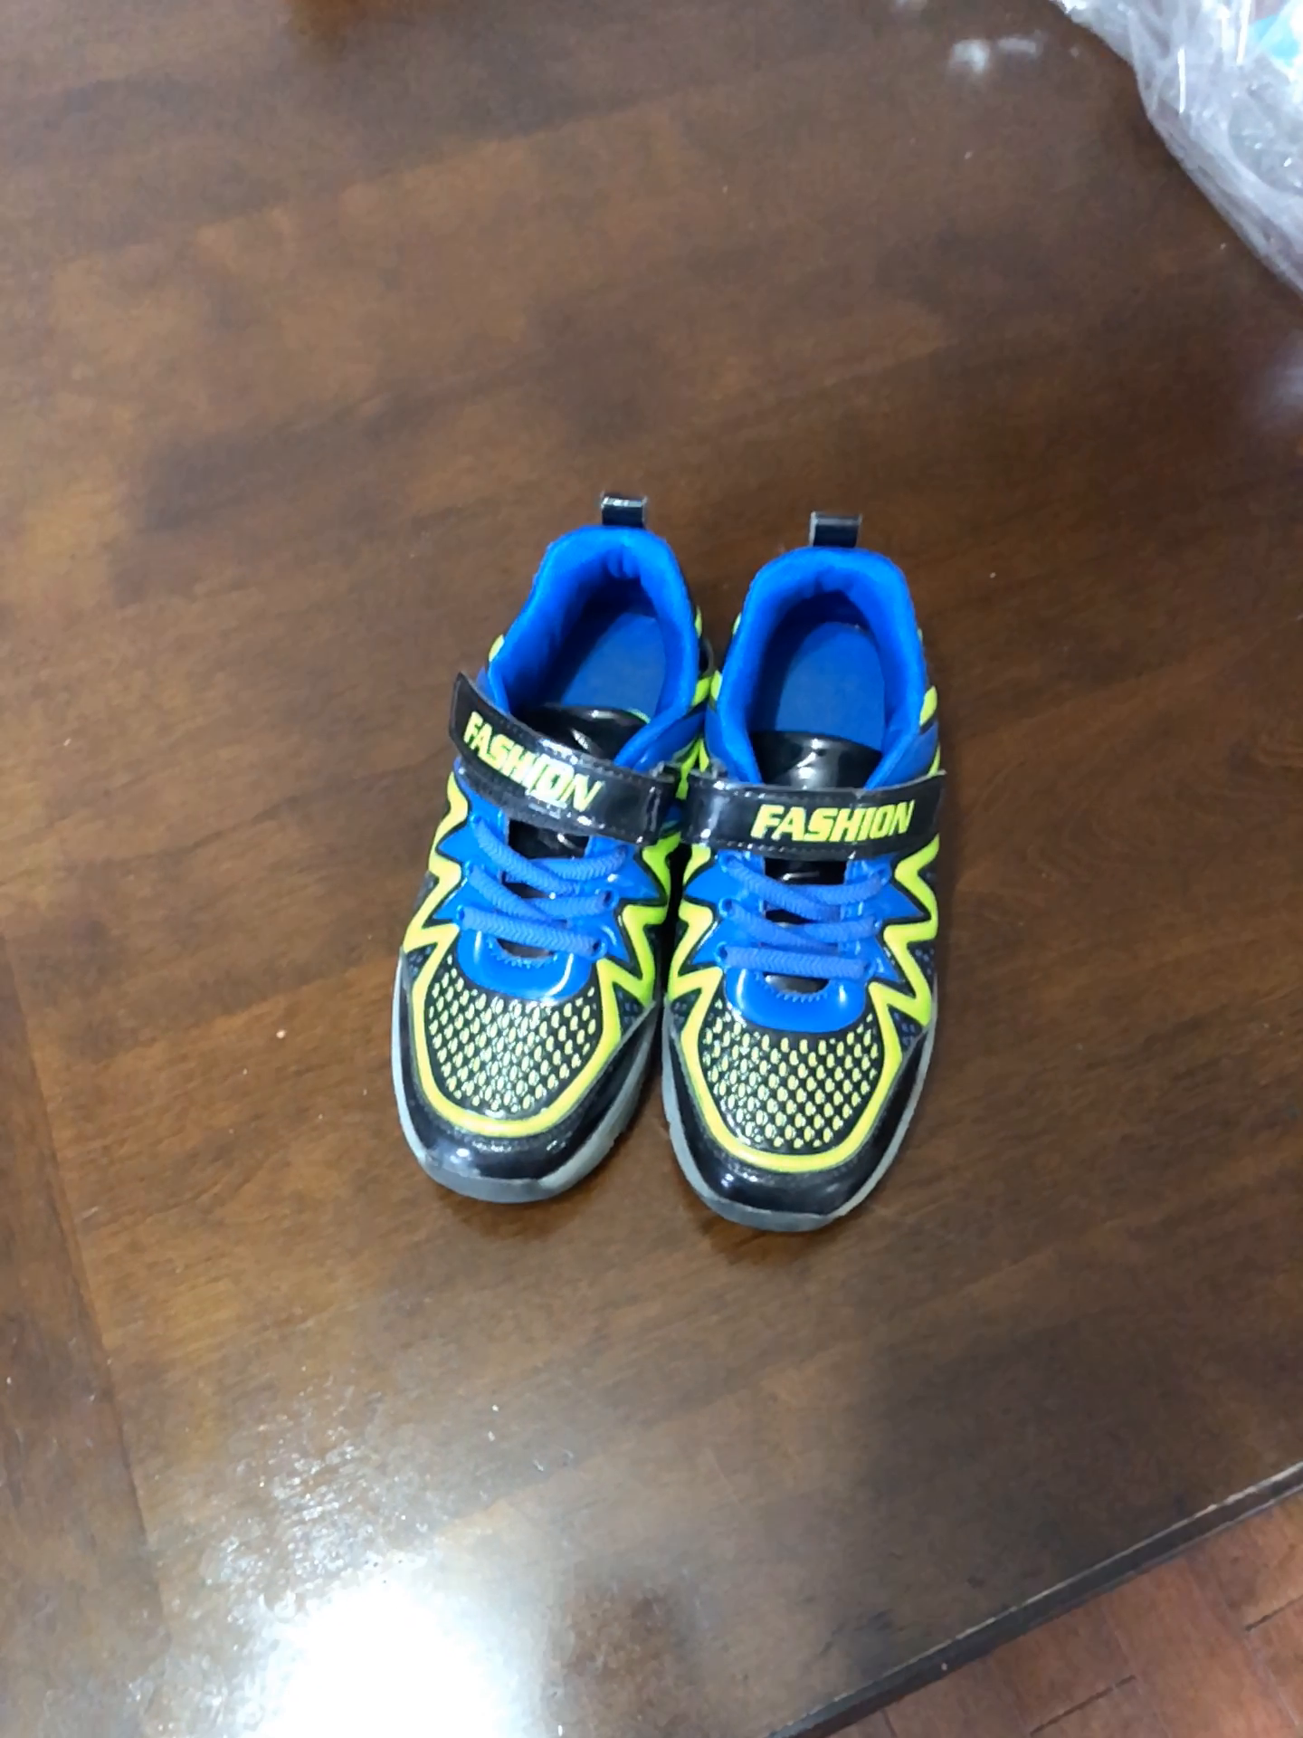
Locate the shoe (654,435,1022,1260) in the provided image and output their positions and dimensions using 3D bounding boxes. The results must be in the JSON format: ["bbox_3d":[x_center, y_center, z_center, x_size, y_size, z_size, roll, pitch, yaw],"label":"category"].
[{"bbox_3d":[0.050,-0.007,0.458,0.090,0.120,0.230,2,63,1],"label":"shoe"}]

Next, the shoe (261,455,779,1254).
[{"bbox_3d":[-0.029,-0.004,0.461,0.100,0.120,0.210,10,64,5],"label":"shoe"}]
